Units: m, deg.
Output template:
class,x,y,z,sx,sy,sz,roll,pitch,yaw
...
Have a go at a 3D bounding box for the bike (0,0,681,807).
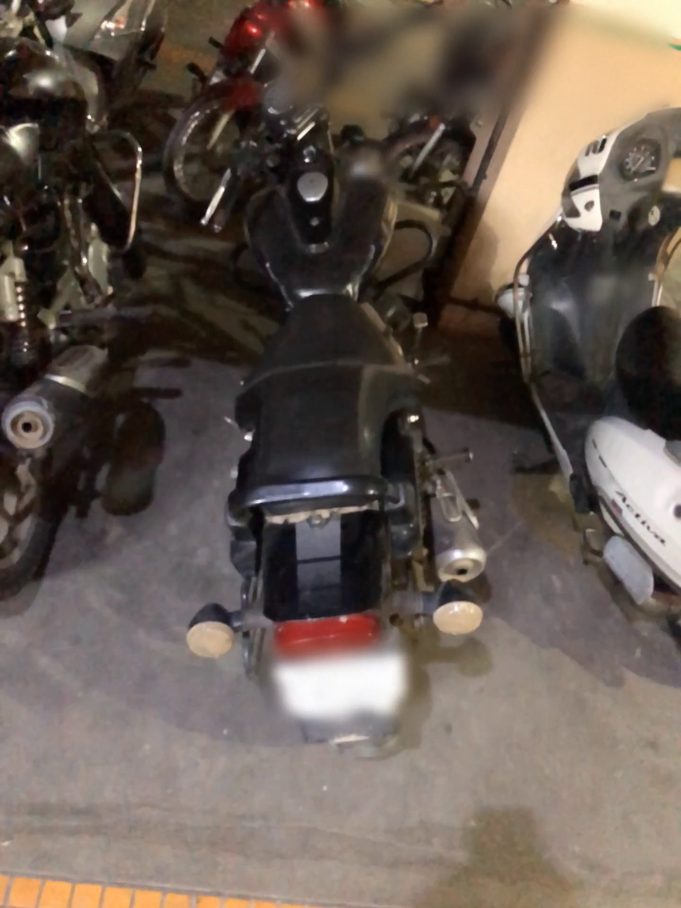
class,x,y,z,sx,sy,sz,roll,pitch,yaw
bike,-0.168,-0.362,1.689,0.863,1.251,1.677,7,42,-15
